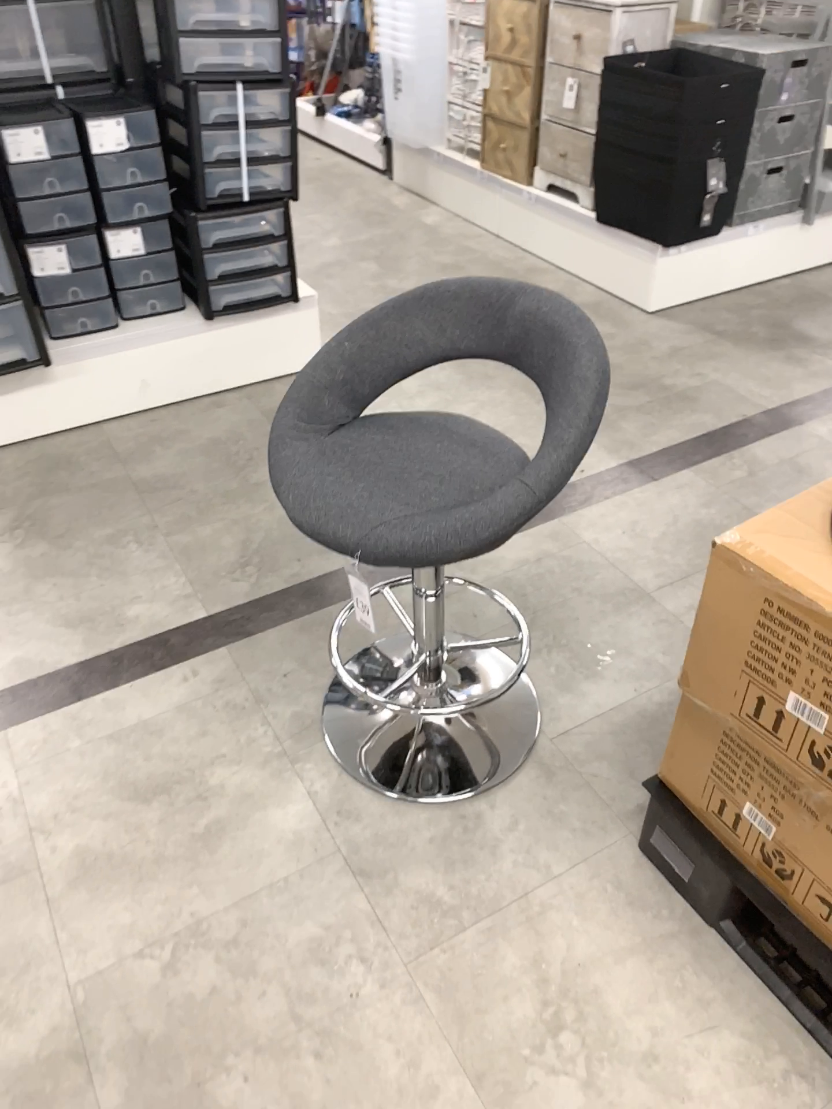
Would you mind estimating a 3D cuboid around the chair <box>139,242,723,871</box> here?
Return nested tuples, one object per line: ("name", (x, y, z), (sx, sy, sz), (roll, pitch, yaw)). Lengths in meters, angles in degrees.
("chair", (0.014, -0.041, 1.401), (0.594, 0.664, 0.575), (-28, 46, -30))
